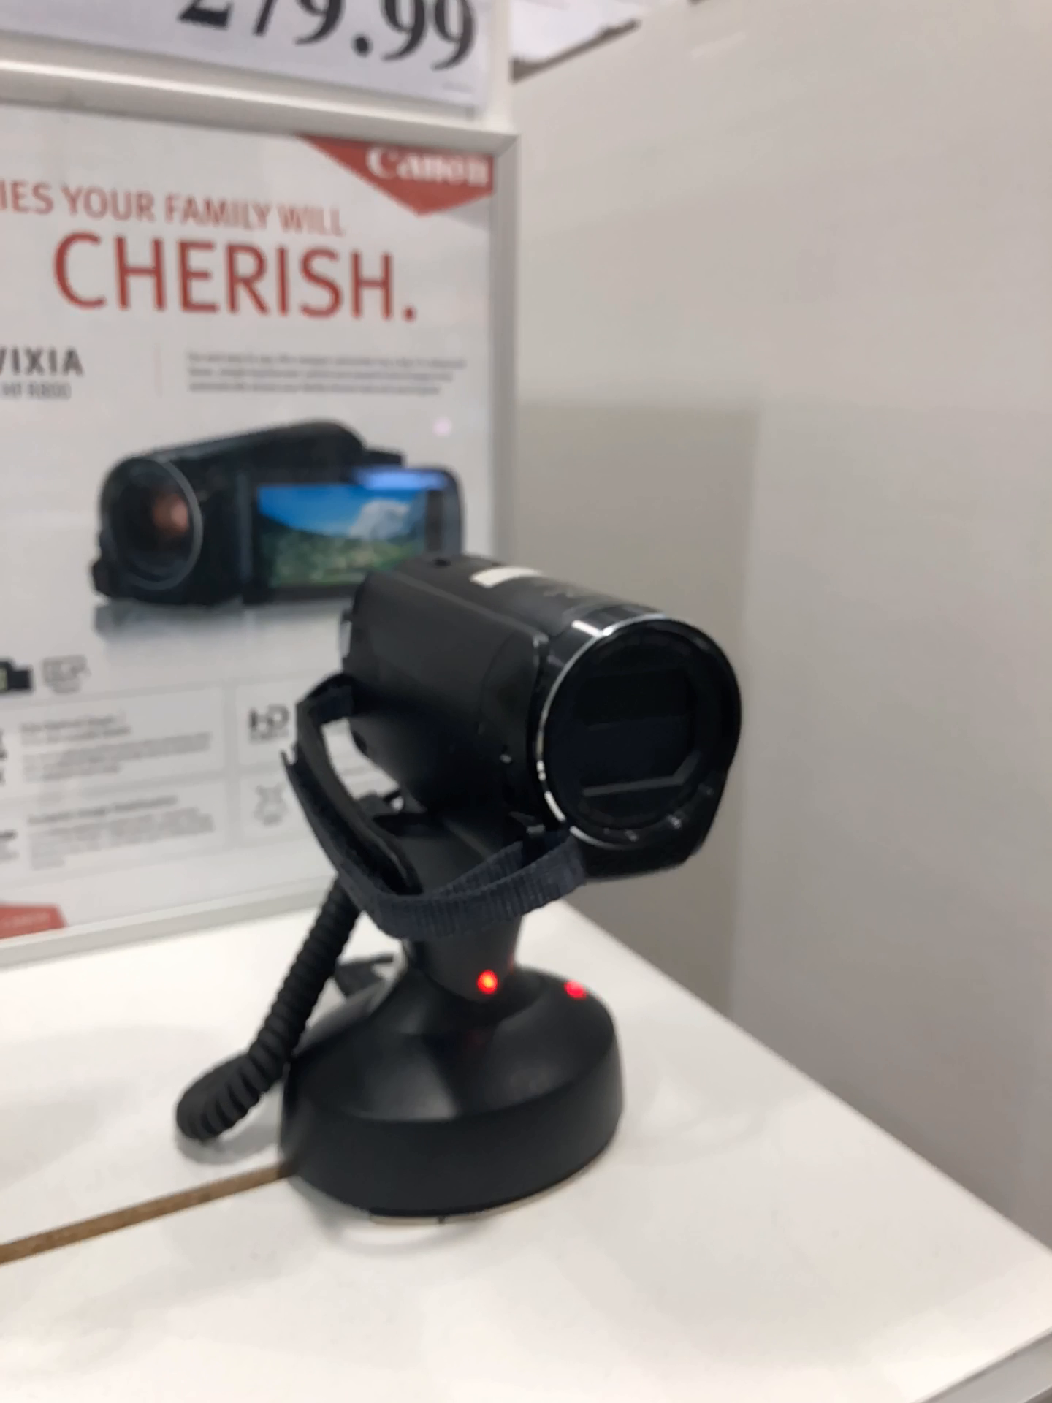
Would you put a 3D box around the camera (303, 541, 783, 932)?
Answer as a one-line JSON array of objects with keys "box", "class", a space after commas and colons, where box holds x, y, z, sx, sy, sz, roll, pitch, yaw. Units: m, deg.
[{"box": [-0.005, -0.002, 0.292, 0.060, 0.060, 0.130, -6, 15, -27], "class": "camera"}]
